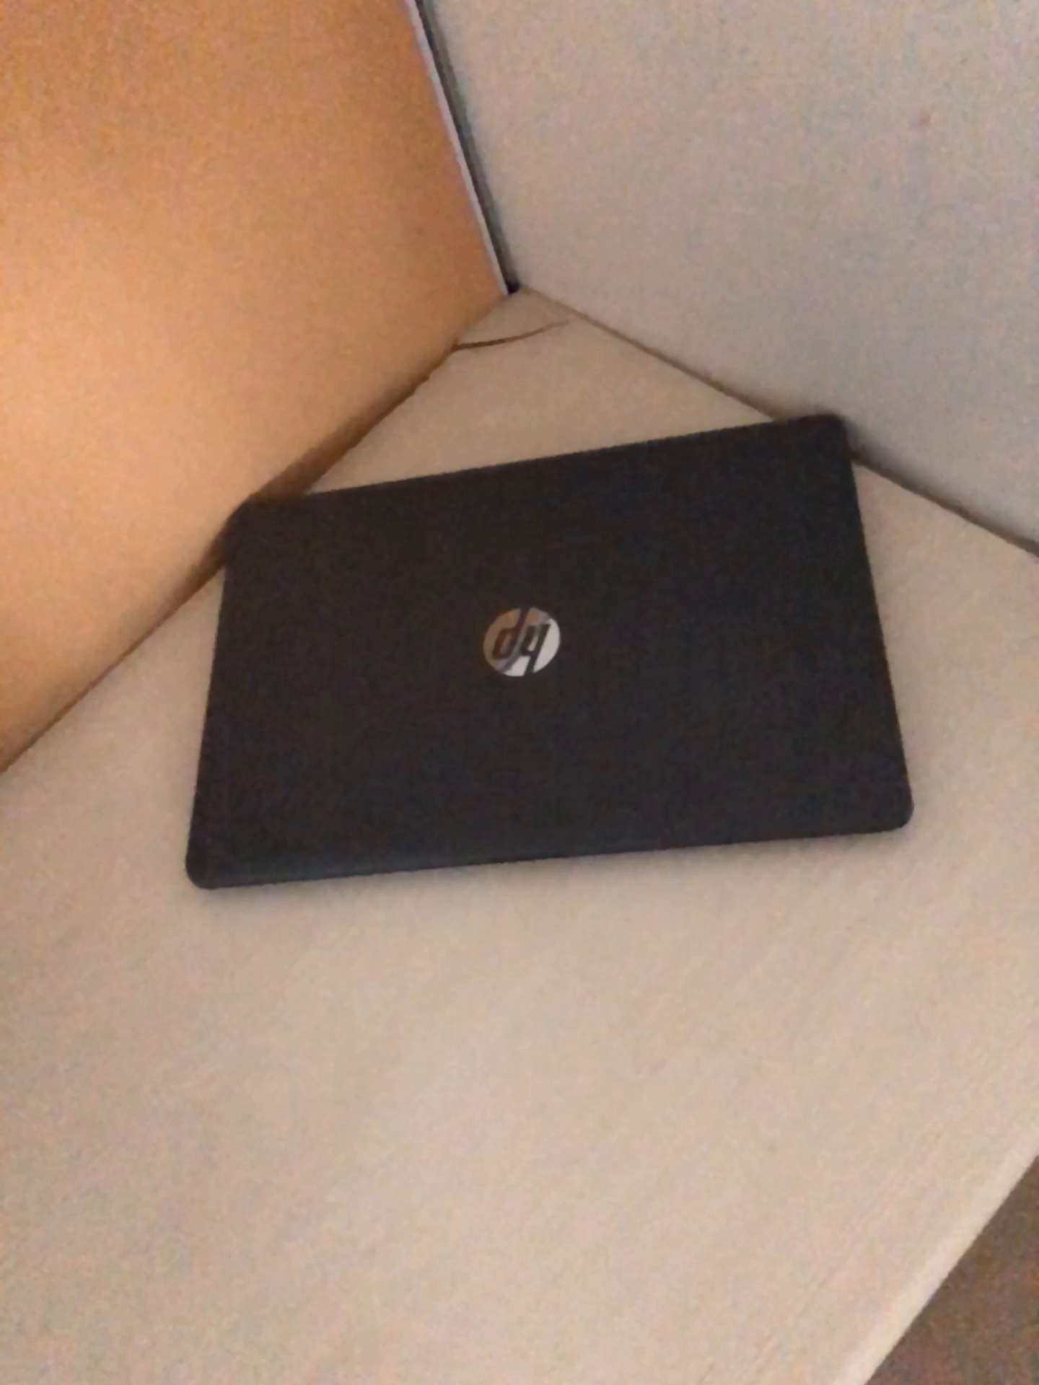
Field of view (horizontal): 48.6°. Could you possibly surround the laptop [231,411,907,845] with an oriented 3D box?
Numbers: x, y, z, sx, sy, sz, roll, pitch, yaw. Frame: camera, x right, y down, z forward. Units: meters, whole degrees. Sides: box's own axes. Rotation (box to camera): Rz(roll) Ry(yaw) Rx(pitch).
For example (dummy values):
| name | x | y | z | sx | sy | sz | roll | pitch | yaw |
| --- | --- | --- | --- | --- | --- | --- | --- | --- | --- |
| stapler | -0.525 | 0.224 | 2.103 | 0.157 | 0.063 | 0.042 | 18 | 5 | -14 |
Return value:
| name | x | y | z | sx | sy | sz | roll | pitch | yaw |
| --- | --- | --- | --- | --- | --- | --- | --- | --- | --- |
| laptop | 0.017 | -0.040 | 0.652 | 0.356 | 0.004 | 0.237 | -6 | 60 | 13 |
